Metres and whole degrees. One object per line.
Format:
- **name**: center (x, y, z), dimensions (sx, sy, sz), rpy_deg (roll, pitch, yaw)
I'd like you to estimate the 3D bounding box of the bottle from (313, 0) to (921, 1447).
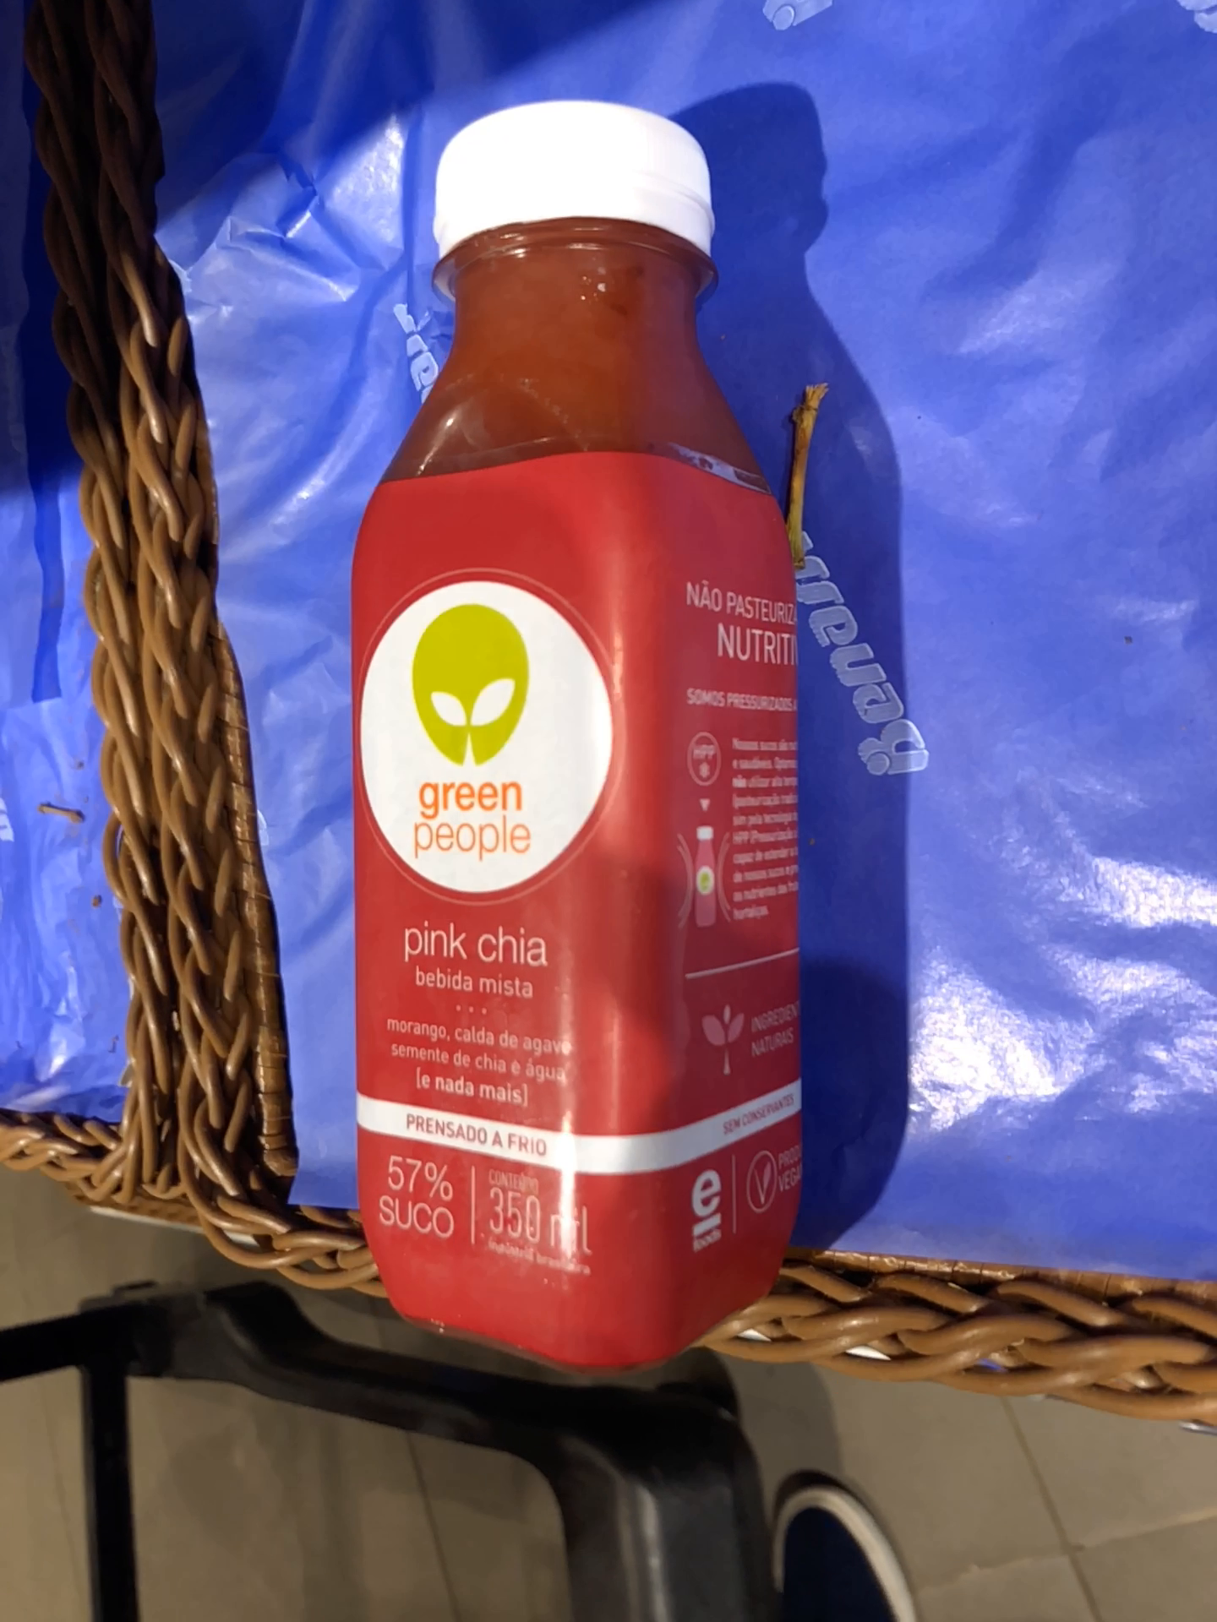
- **bottle**: center (0.002, -0.022, 0.198), dimensions (0.060, 0.060, 0.190), rpy_deg (2, 92, 37)
